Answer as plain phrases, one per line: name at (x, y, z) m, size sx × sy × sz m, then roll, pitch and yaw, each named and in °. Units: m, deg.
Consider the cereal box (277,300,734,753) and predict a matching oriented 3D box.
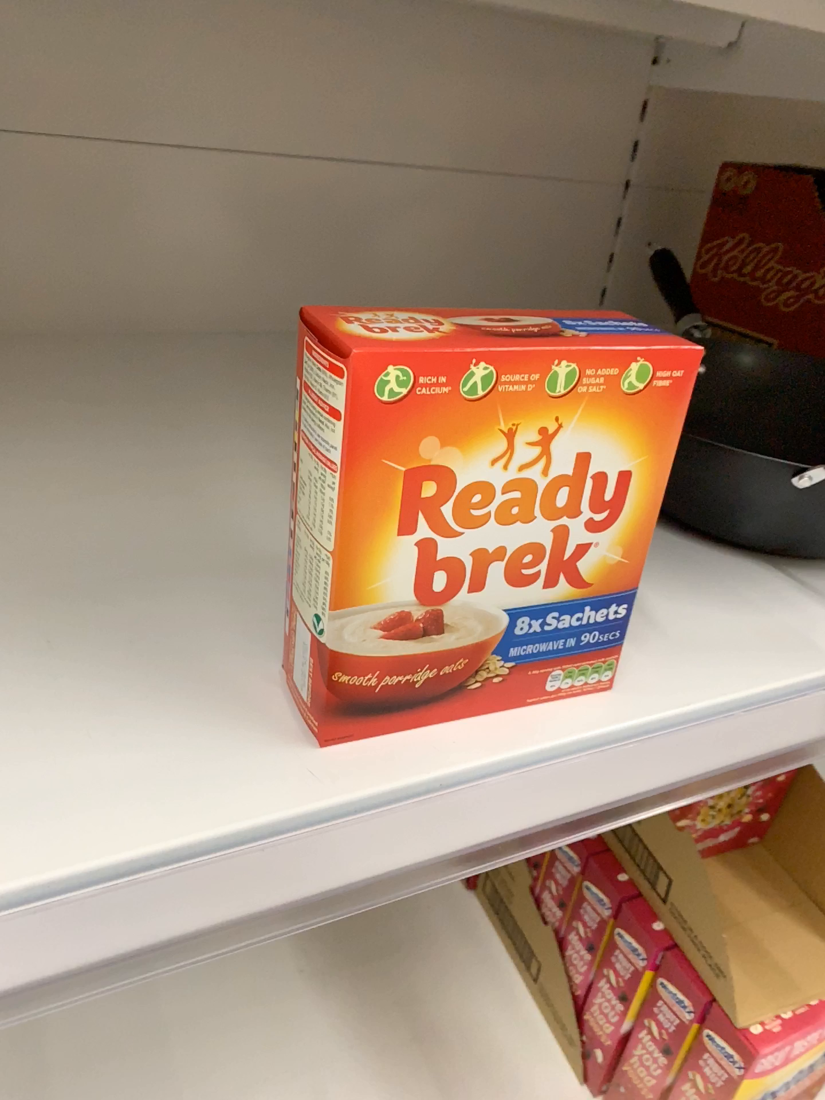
cereal box at (0.036, -0.015, 0.413) m, size 0.180 × 0.188 × 0.070 m, roll -6°, pitch 31°, yaw -25°
